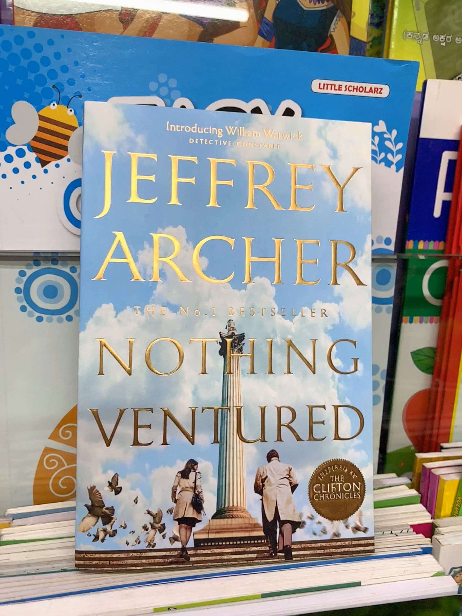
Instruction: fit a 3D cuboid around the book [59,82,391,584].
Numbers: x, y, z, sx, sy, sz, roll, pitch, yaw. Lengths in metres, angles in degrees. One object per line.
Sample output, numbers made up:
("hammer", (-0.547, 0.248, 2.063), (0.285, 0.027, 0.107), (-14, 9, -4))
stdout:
("book", (-0.001, 0.008, 0.207), (0.130, 0.190, 0.030), (0, -2, -8))
